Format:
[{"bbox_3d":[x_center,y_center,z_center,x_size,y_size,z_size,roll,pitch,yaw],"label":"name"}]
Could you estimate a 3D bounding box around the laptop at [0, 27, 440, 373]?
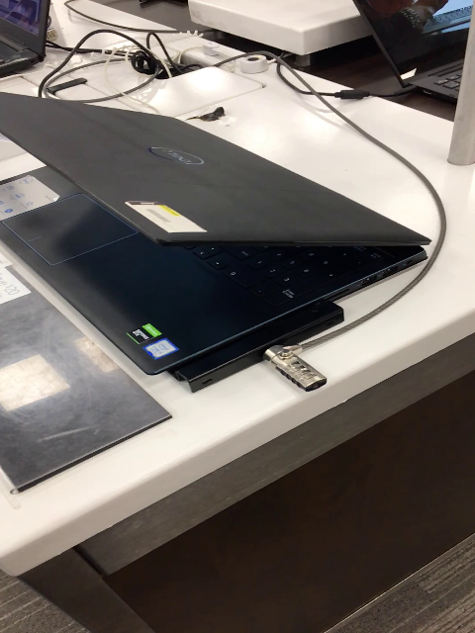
[{"bbox_3d":[-0.076,-0.133,0.556,0.251,0.116,0.366,-31,48,-21],"label":"laptop"}]
